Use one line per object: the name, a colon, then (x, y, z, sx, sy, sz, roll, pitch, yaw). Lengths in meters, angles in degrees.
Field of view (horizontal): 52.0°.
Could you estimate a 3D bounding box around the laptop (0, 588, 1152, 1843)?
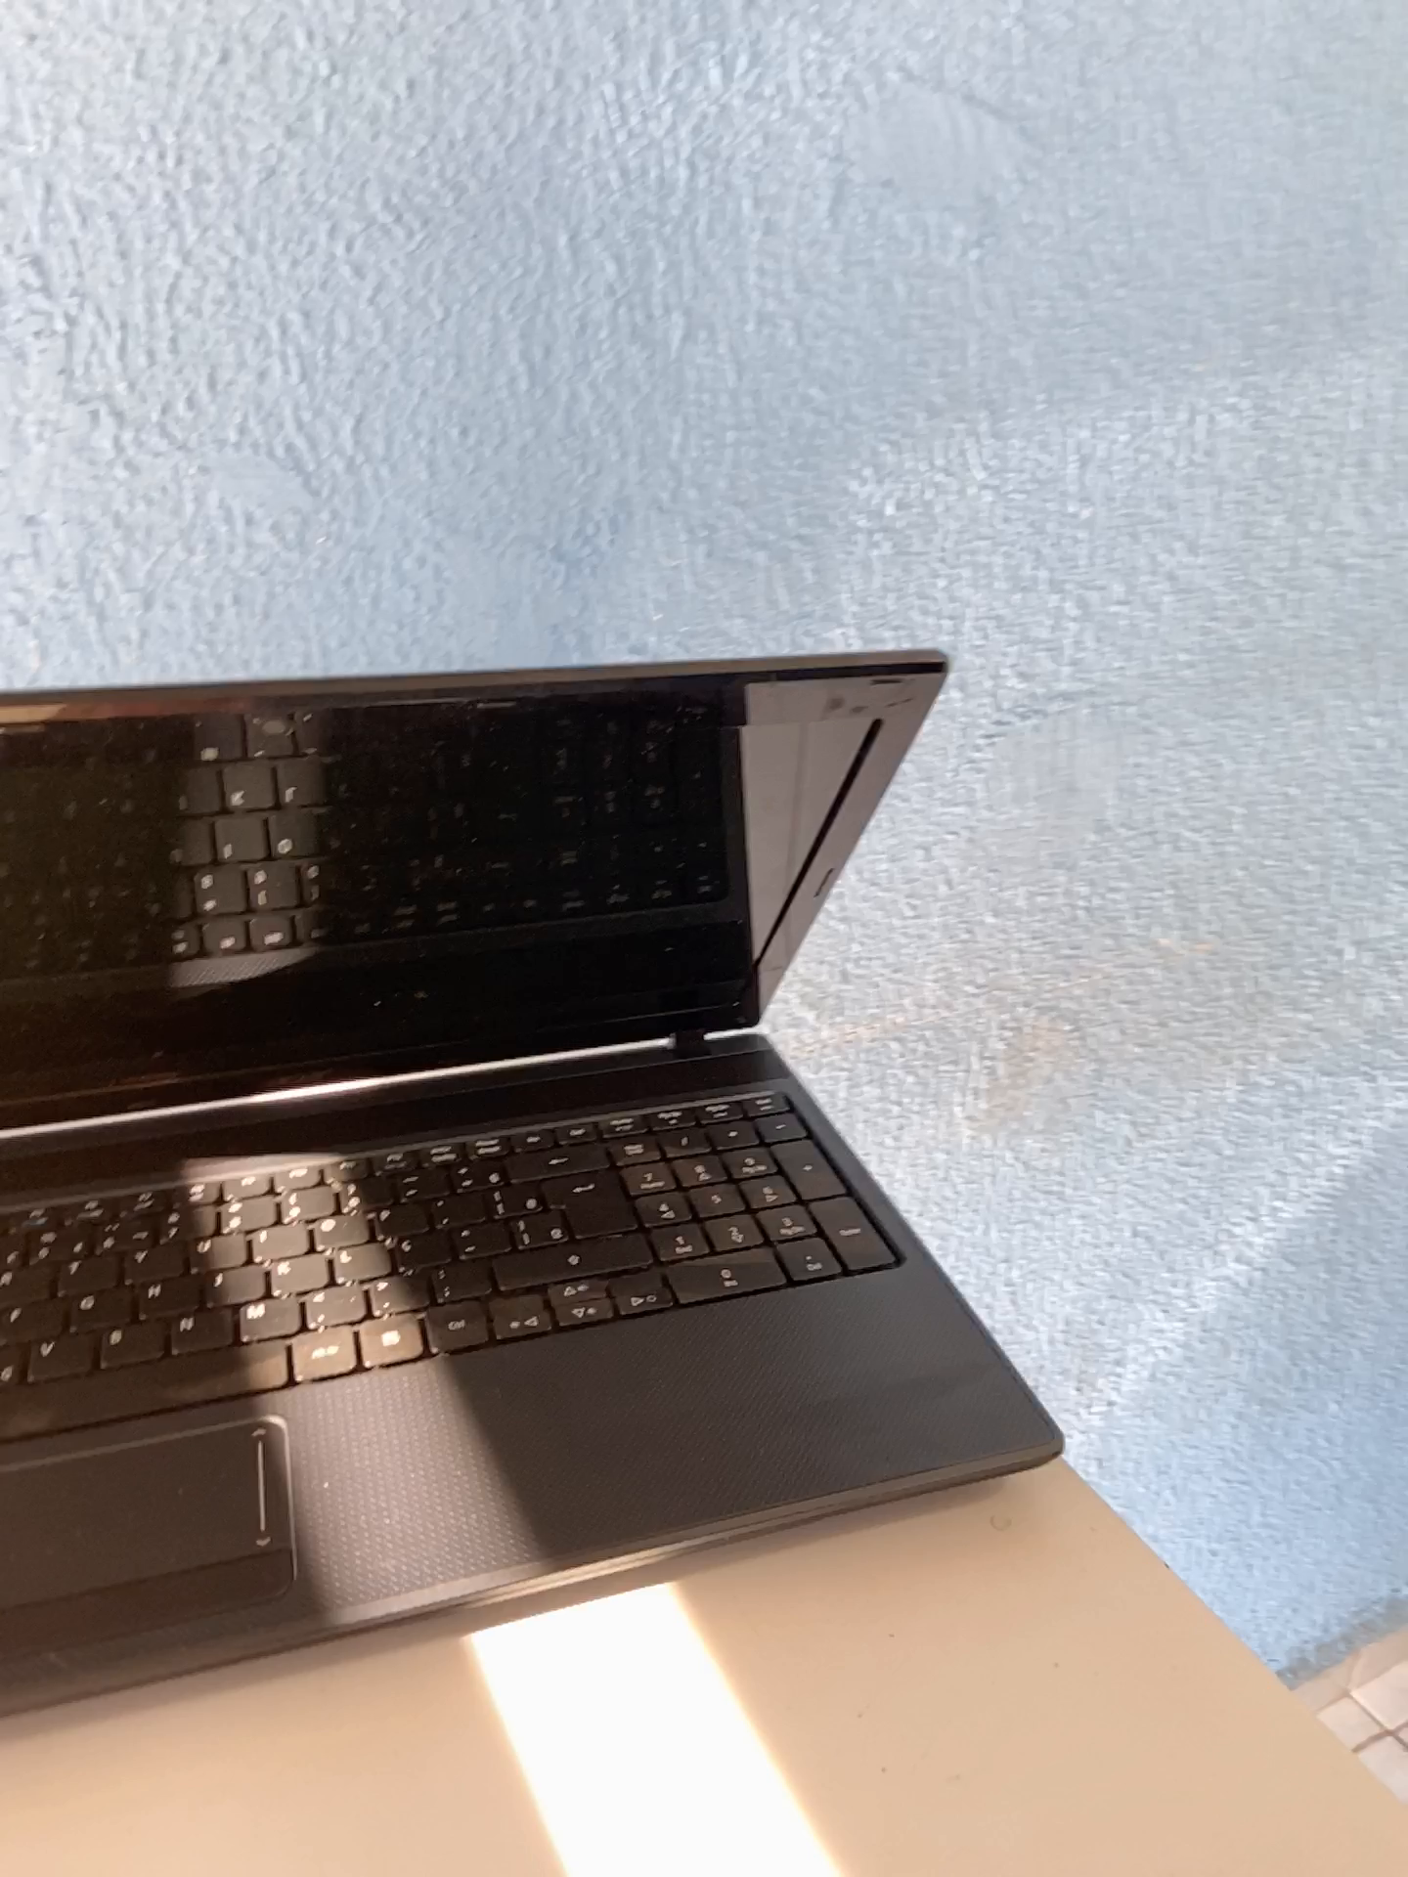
laptop: (-0.117, 0.025, 0.417, 0.376, 0.191, 0.248, -6, 24, -17)
